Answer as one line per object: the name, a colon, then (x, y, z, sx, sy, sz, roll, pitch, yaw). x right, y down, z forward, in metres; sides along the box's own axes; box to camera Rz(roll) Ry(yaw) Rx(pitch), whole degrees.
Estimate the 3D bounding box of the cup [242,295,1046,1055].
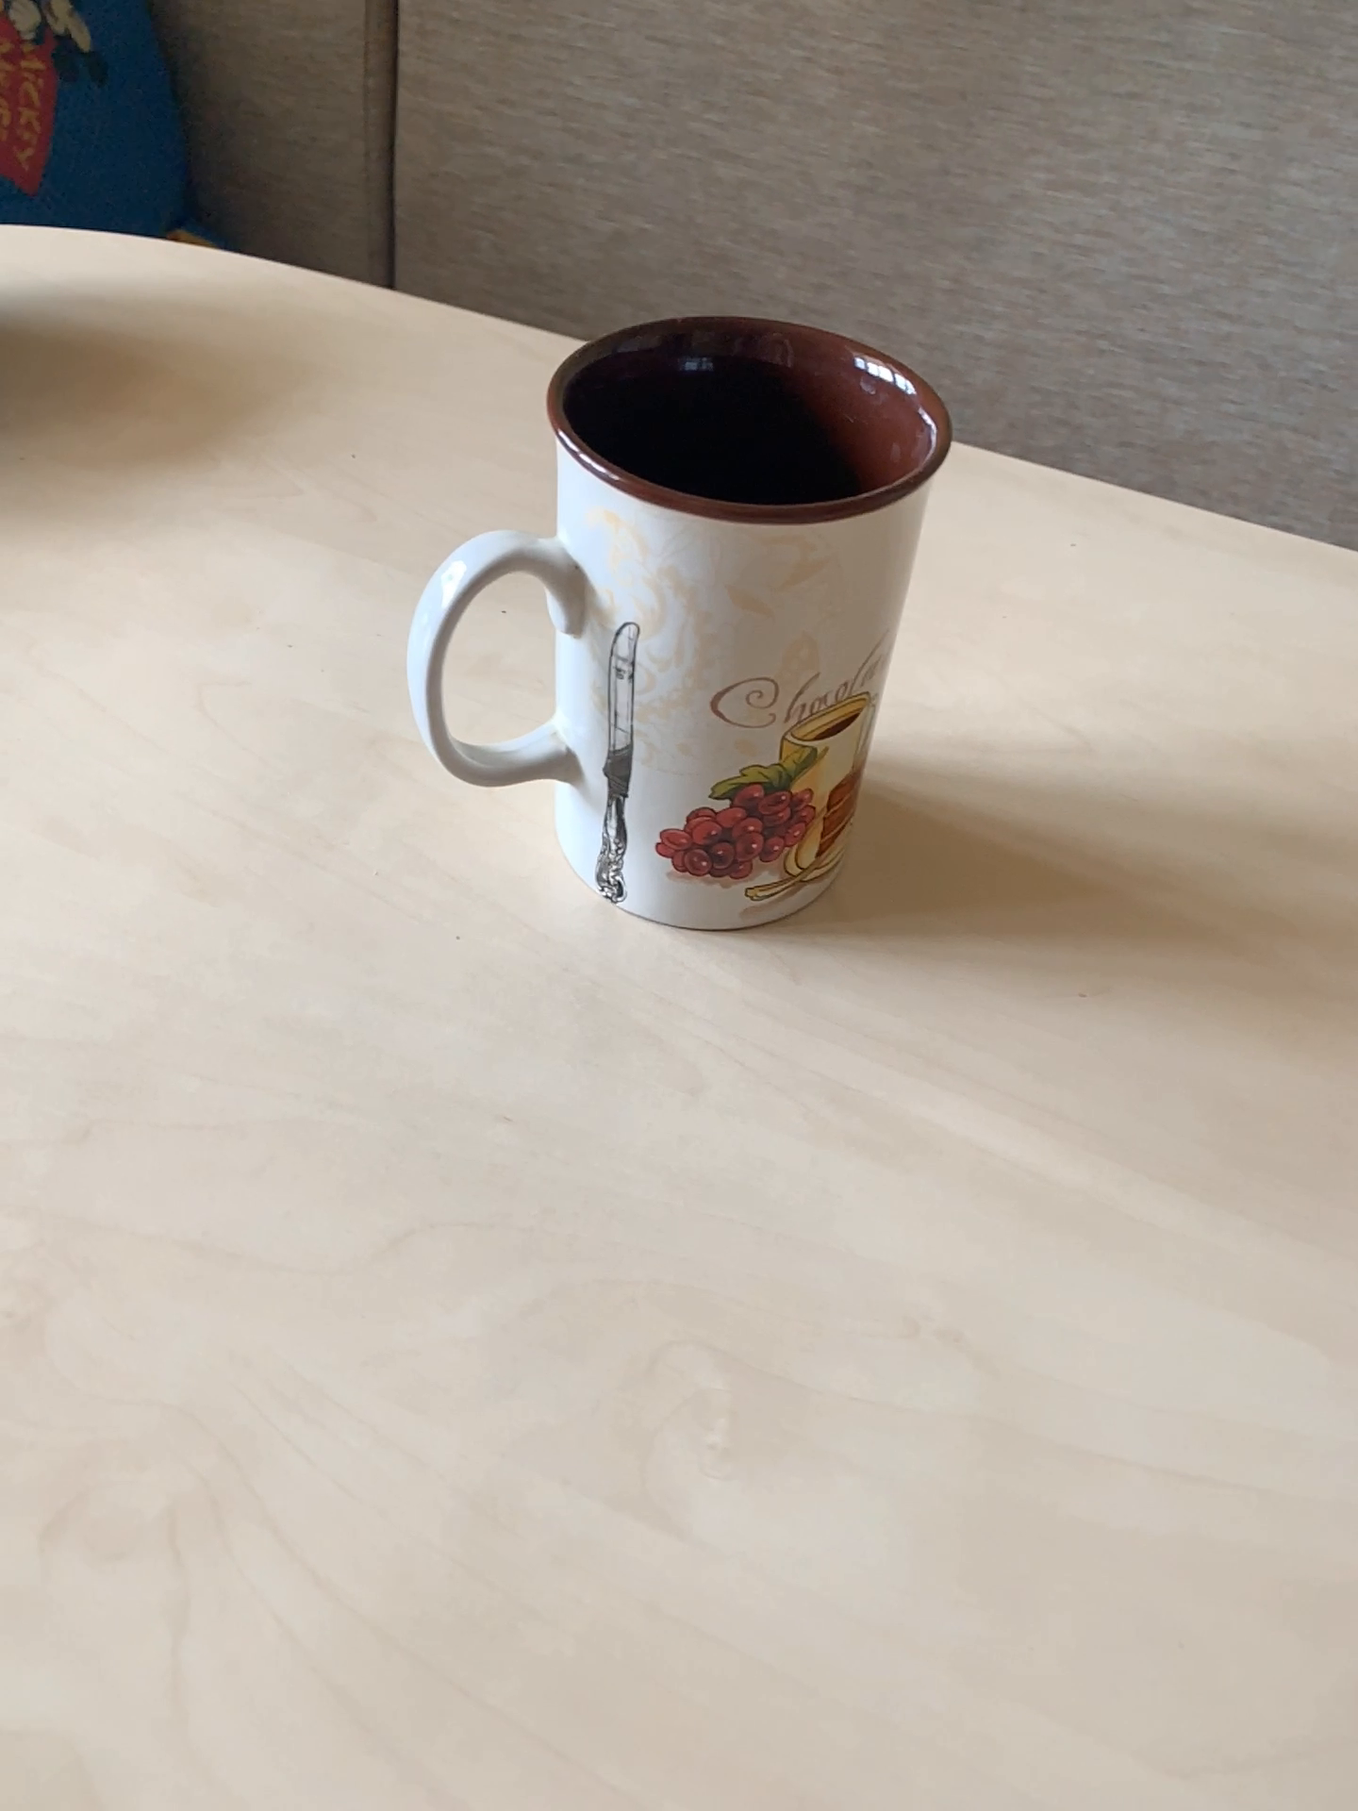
cup: (-0.011, -0.055, 0.311, 0.130, 0.110, 0.090, -18, 49, -22)
